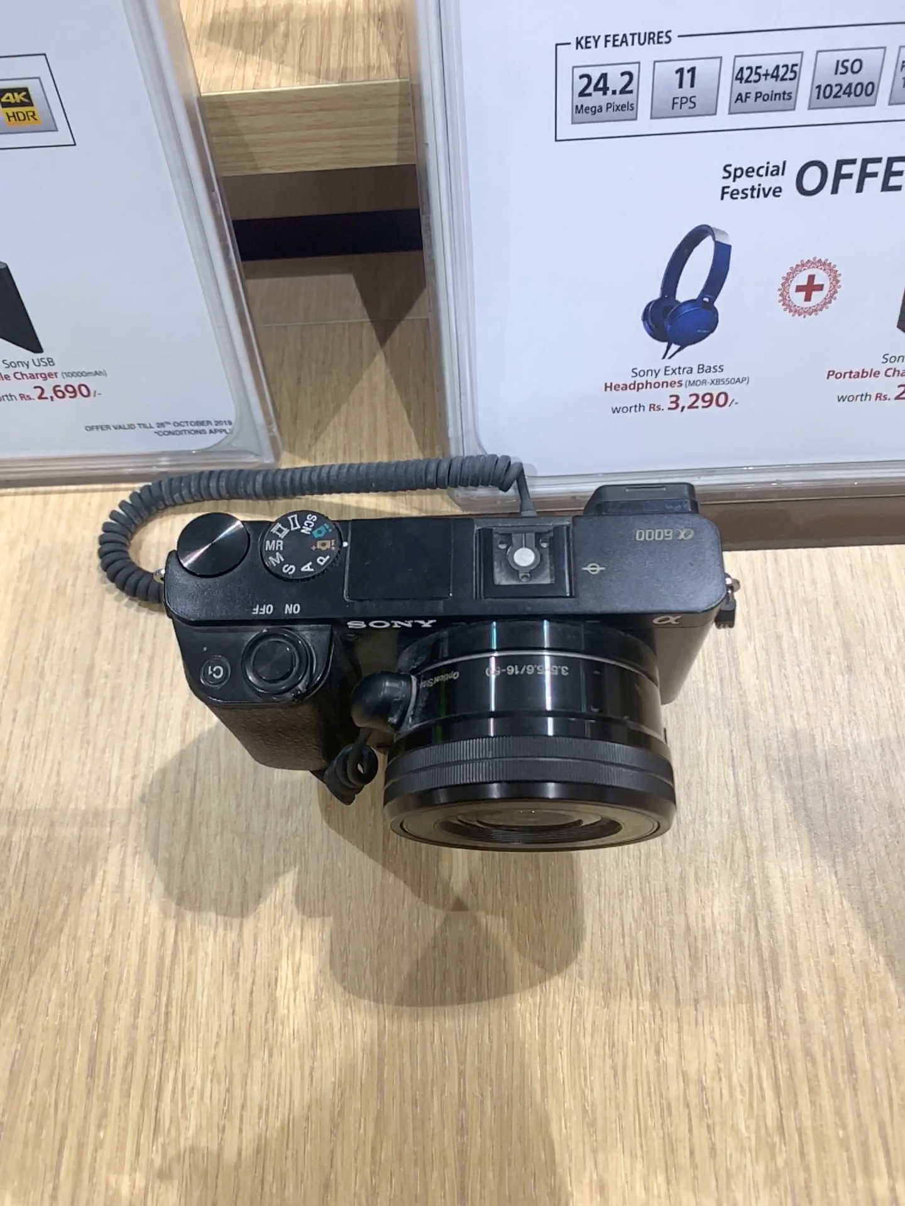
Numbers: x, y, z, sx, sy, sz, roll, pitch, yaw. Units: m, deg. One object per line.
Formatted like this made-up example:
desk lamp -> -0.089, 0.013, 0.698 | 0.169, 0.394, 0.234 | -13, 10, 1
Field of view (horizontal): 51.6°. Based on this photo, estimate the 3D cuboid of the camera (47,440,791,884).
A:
camera -> -0.004, 0.016, 0.197 | 0.120, 0.070, 0.070 | -1, 64, 4
